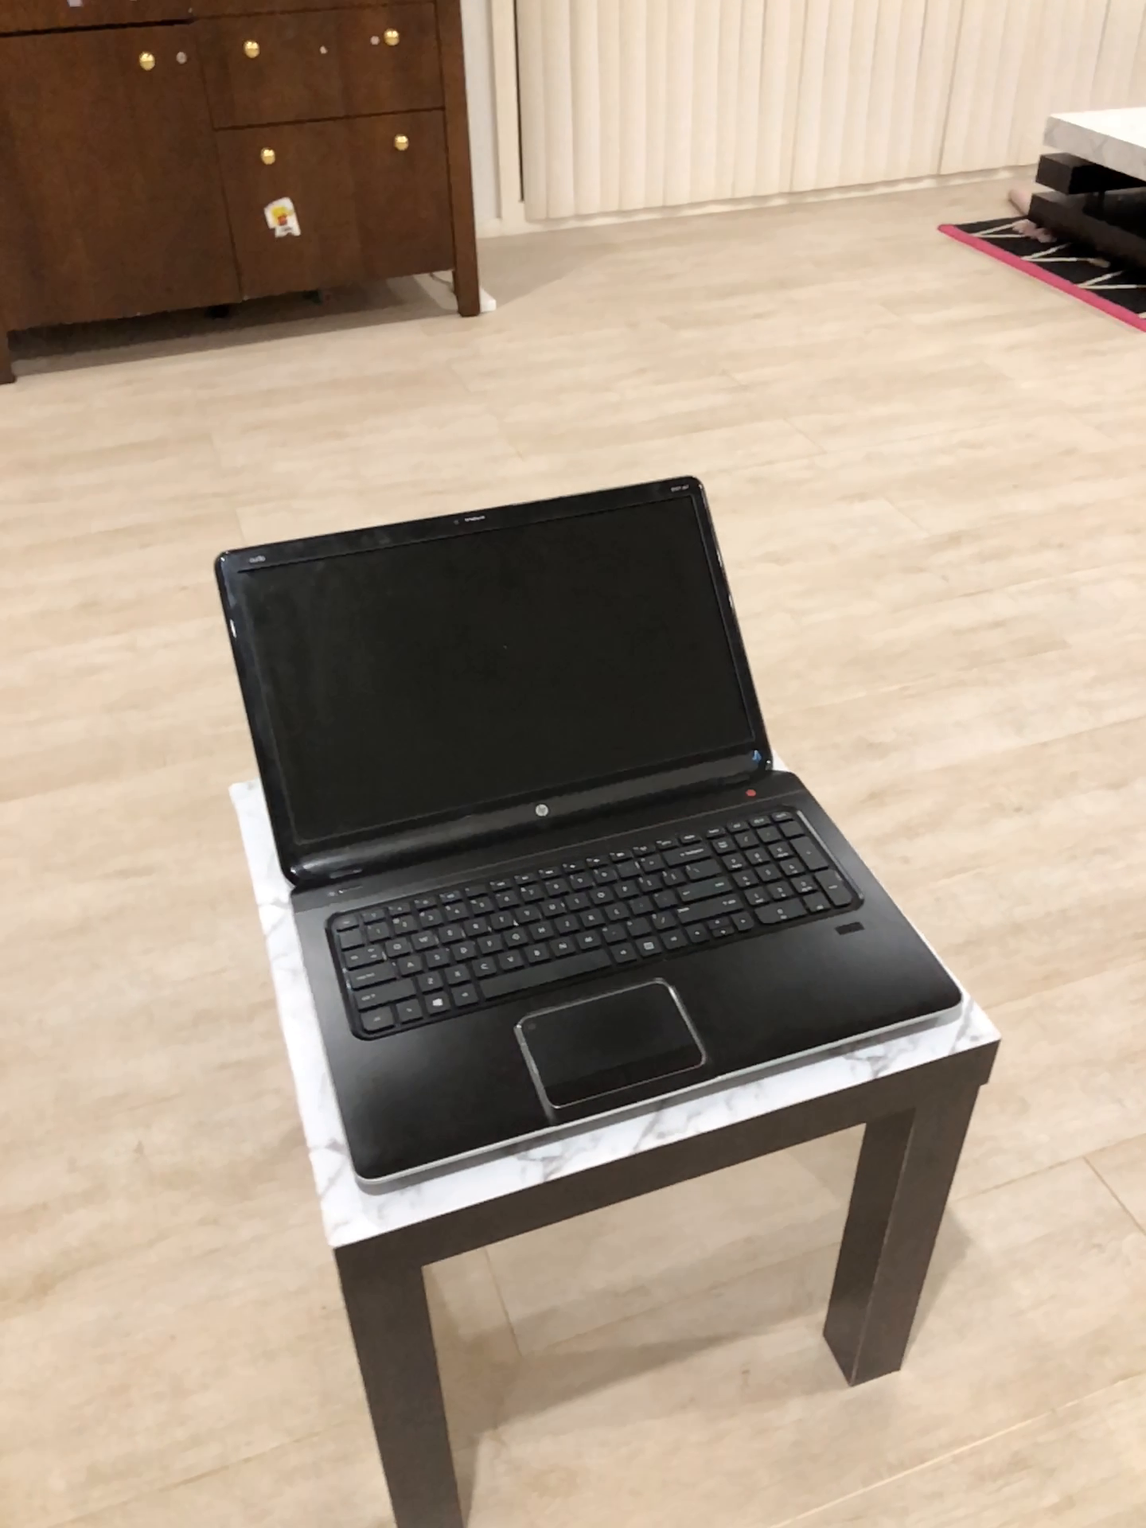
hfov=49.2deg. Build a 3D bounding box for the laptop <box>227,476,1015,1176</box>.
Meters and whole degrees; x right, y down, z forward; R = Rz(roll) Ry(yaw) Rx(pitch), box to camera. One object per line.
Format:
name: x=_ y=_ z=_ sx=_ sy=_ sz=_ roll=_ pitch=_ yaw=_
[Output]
laptop: x=-0.004 y=-0.002 z=0.869 sx=0.386 sy=0.169 sz=0.440 roll=-12 pitch=39 yaw=-15
